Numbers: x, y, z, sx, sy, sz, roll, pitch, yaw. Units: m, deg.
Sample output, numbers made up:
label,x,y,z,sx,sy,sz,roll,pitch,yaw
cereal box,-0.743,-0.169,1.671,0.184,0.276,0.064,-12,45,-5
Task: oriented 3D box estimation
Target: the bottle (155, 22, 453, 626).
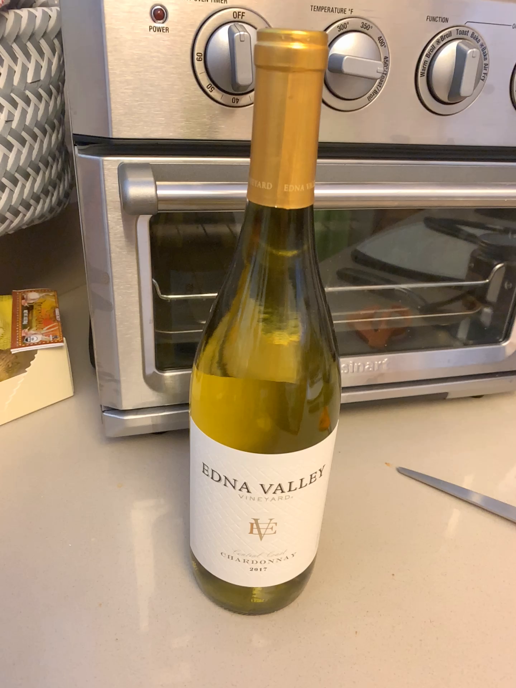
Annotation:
label,x,y,z,sx,sy,sz,roll,pitch,yaw
bottle,0.003,0.007,0.265,0.090,0.278,0.091,2,29,-1
